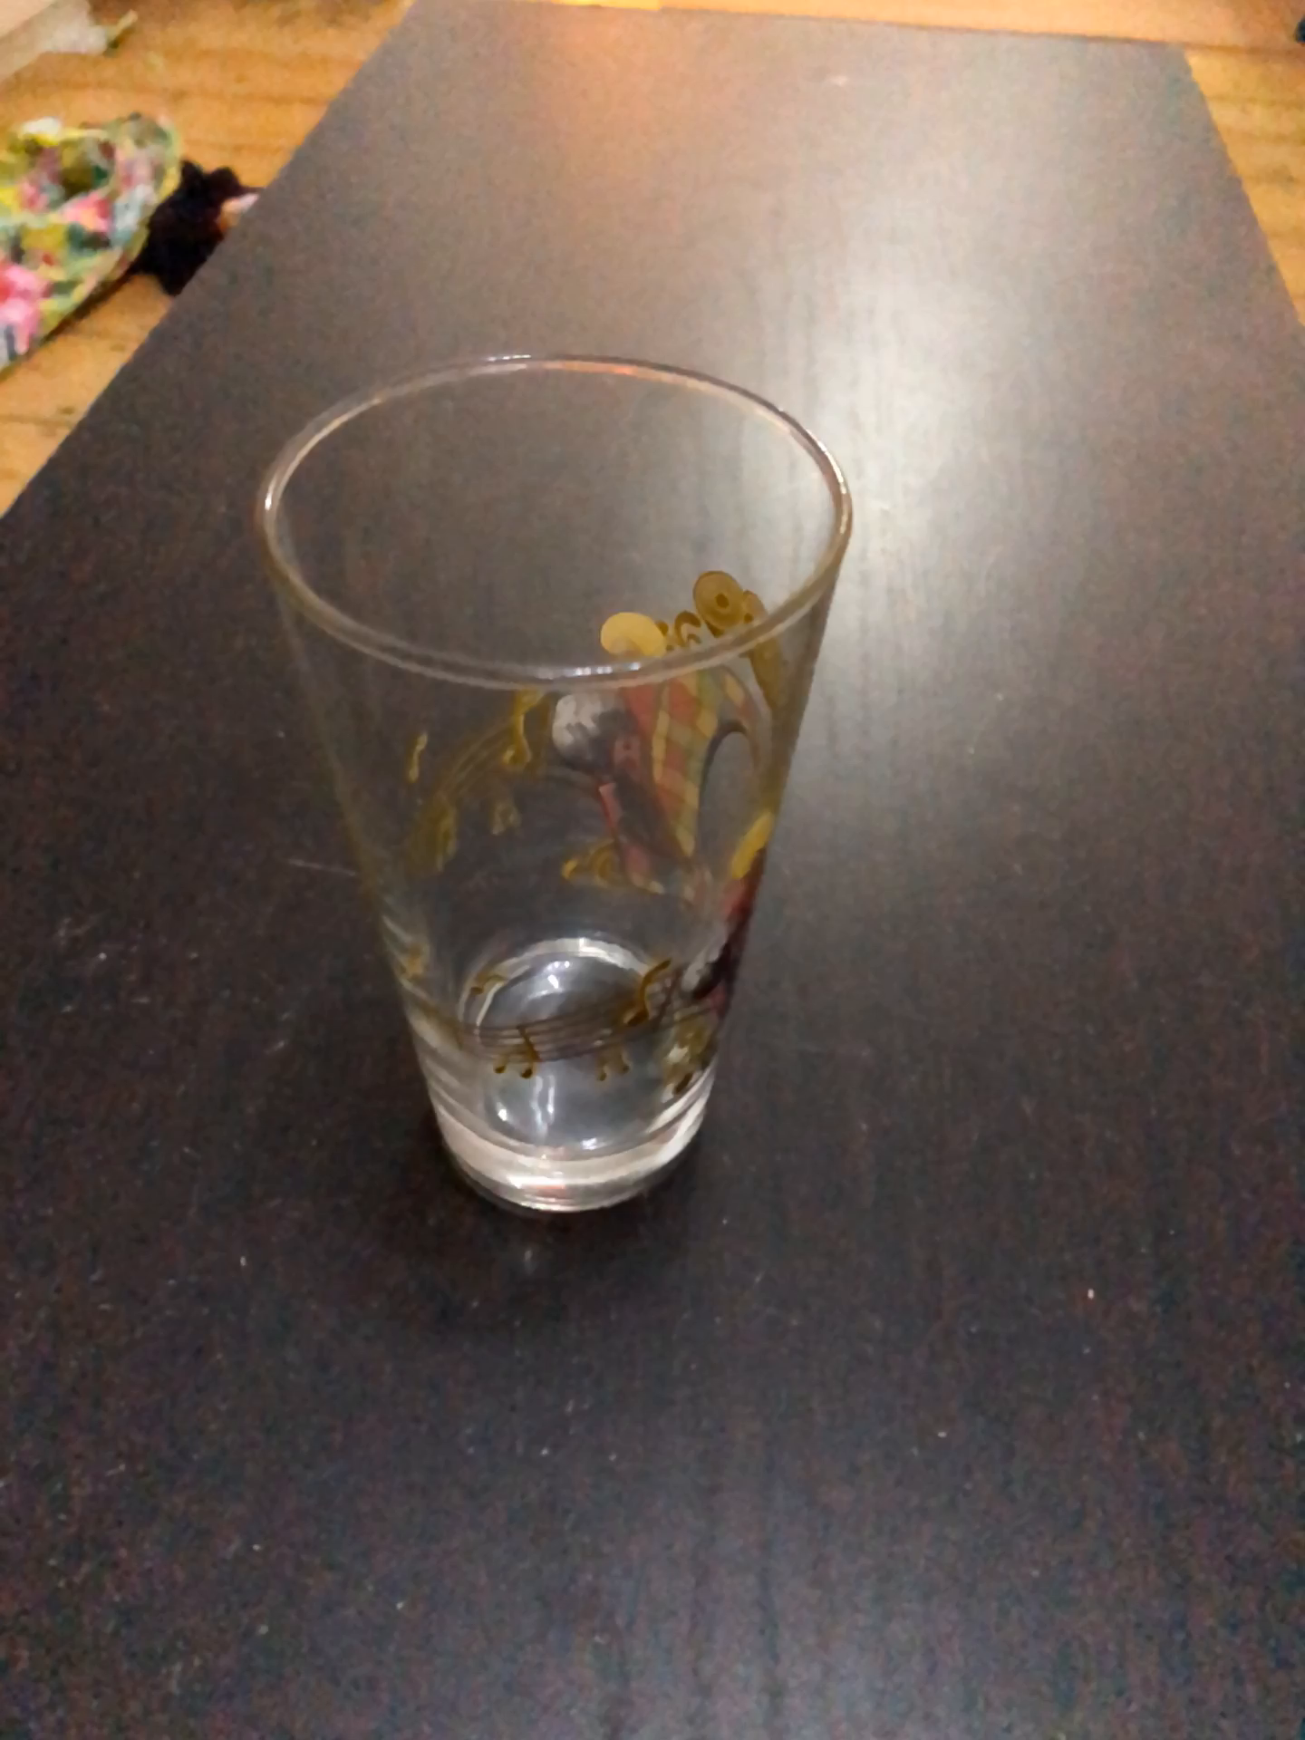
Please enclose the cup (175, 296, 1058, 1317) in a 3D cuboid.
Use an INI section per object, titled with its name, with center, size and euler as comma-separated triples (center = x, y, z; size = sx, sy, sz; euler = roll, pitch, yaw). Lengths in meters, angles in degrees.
[cup]
center = -0.008, -0.010, 0.221
size = 0.080, 0.109, 0.080
euler = 1, 45, -1
